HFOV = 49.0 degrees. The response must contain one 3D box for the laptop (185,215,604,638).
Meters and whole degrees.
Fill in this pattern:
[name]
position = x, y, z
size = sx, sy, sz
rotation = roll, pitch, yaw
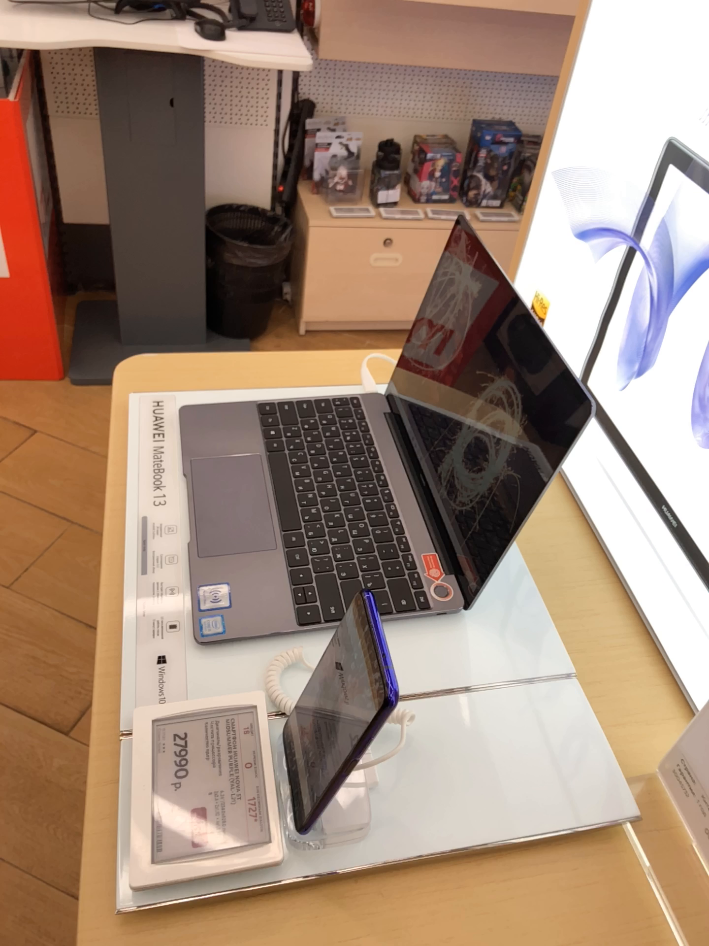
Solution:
[laptop]
position = -0.002, -0.053, 0.629
size = 0.244, 0.192, 0.276
rotation = -4, 43, -12
